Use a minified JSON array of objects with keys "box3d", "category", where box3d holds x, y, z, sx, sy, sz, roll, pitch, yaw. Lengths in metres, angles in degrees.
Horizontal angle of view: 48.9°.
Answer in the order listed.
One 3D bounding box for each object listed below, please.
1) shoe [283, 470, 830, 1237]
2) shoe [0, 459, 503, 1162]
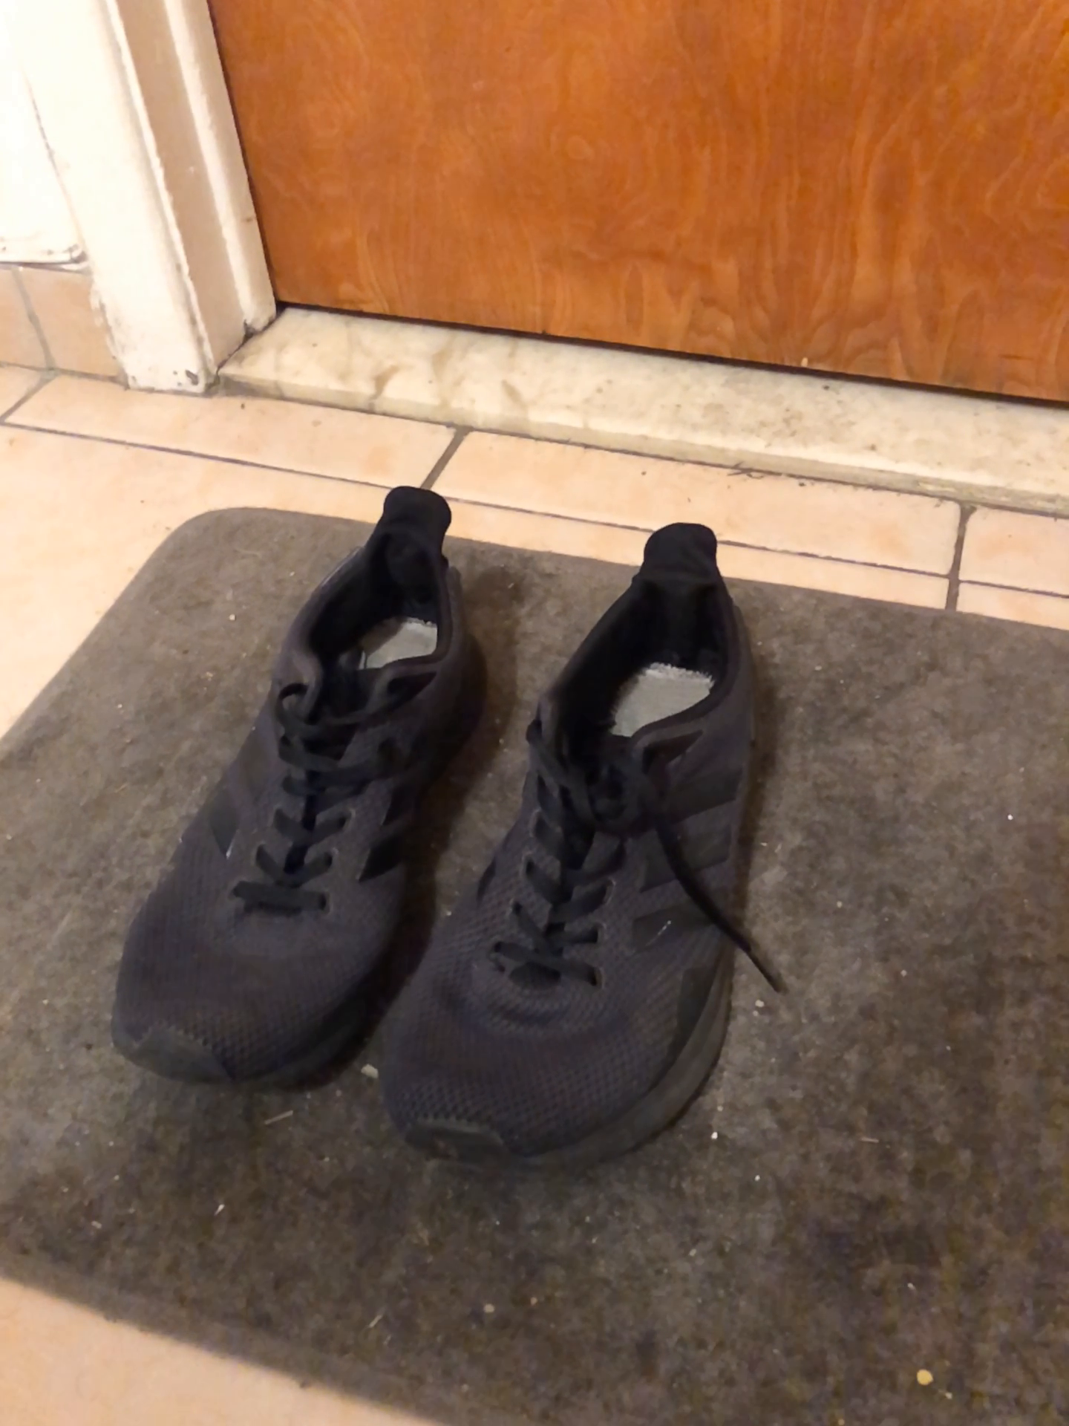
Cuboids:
[{"box3d":[0.027,0.036,0.459,0.110,0.119,0.262,13,48,17],"category":"shoe"},{"box3d":[-0.101,0.025,0.495,0.110,0.119,0.262,11,47,9],"category":"shoe"}]
